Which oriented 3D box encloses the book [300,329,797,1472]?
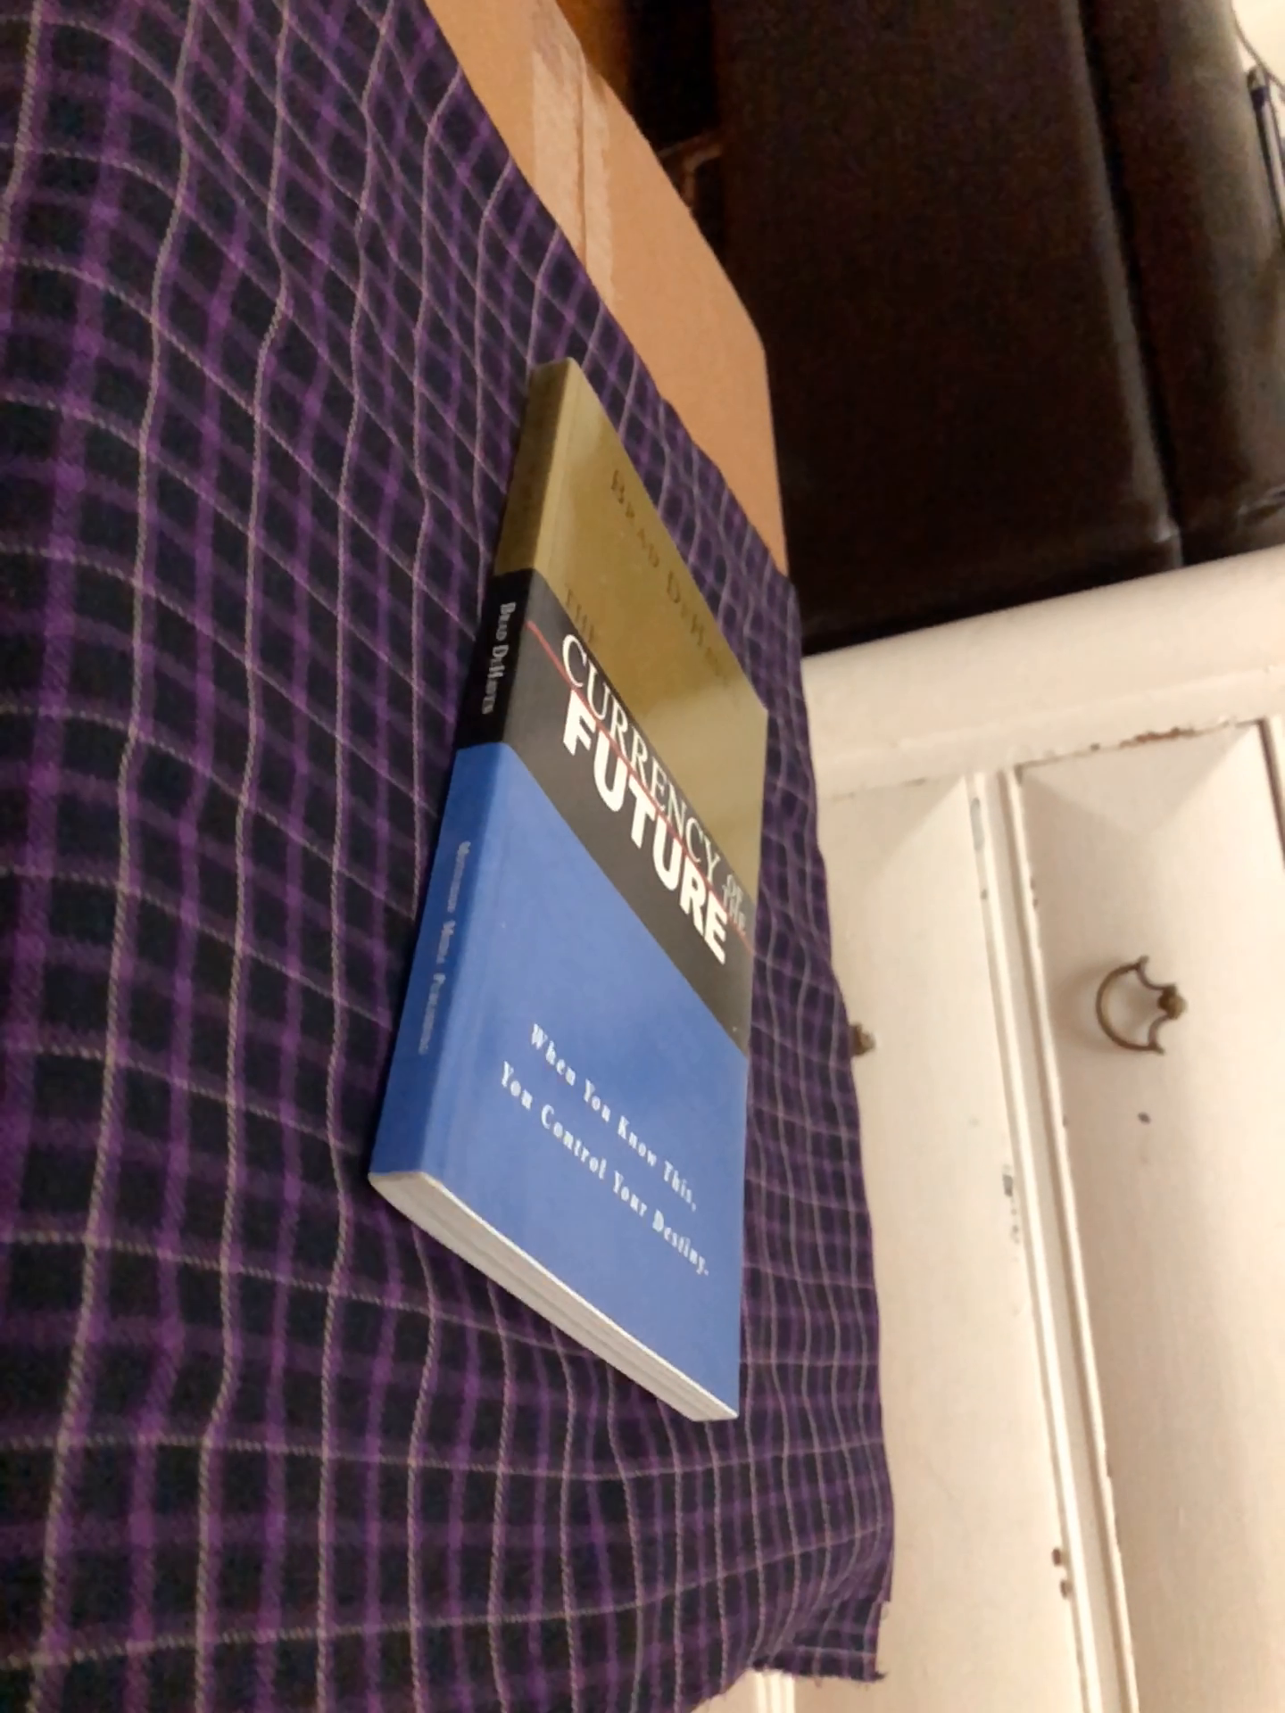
[{"bbox_3d":[-0.002,0.007,0.332,0.150,0.020,0.221,54,33,-45],"label":"book"}]
